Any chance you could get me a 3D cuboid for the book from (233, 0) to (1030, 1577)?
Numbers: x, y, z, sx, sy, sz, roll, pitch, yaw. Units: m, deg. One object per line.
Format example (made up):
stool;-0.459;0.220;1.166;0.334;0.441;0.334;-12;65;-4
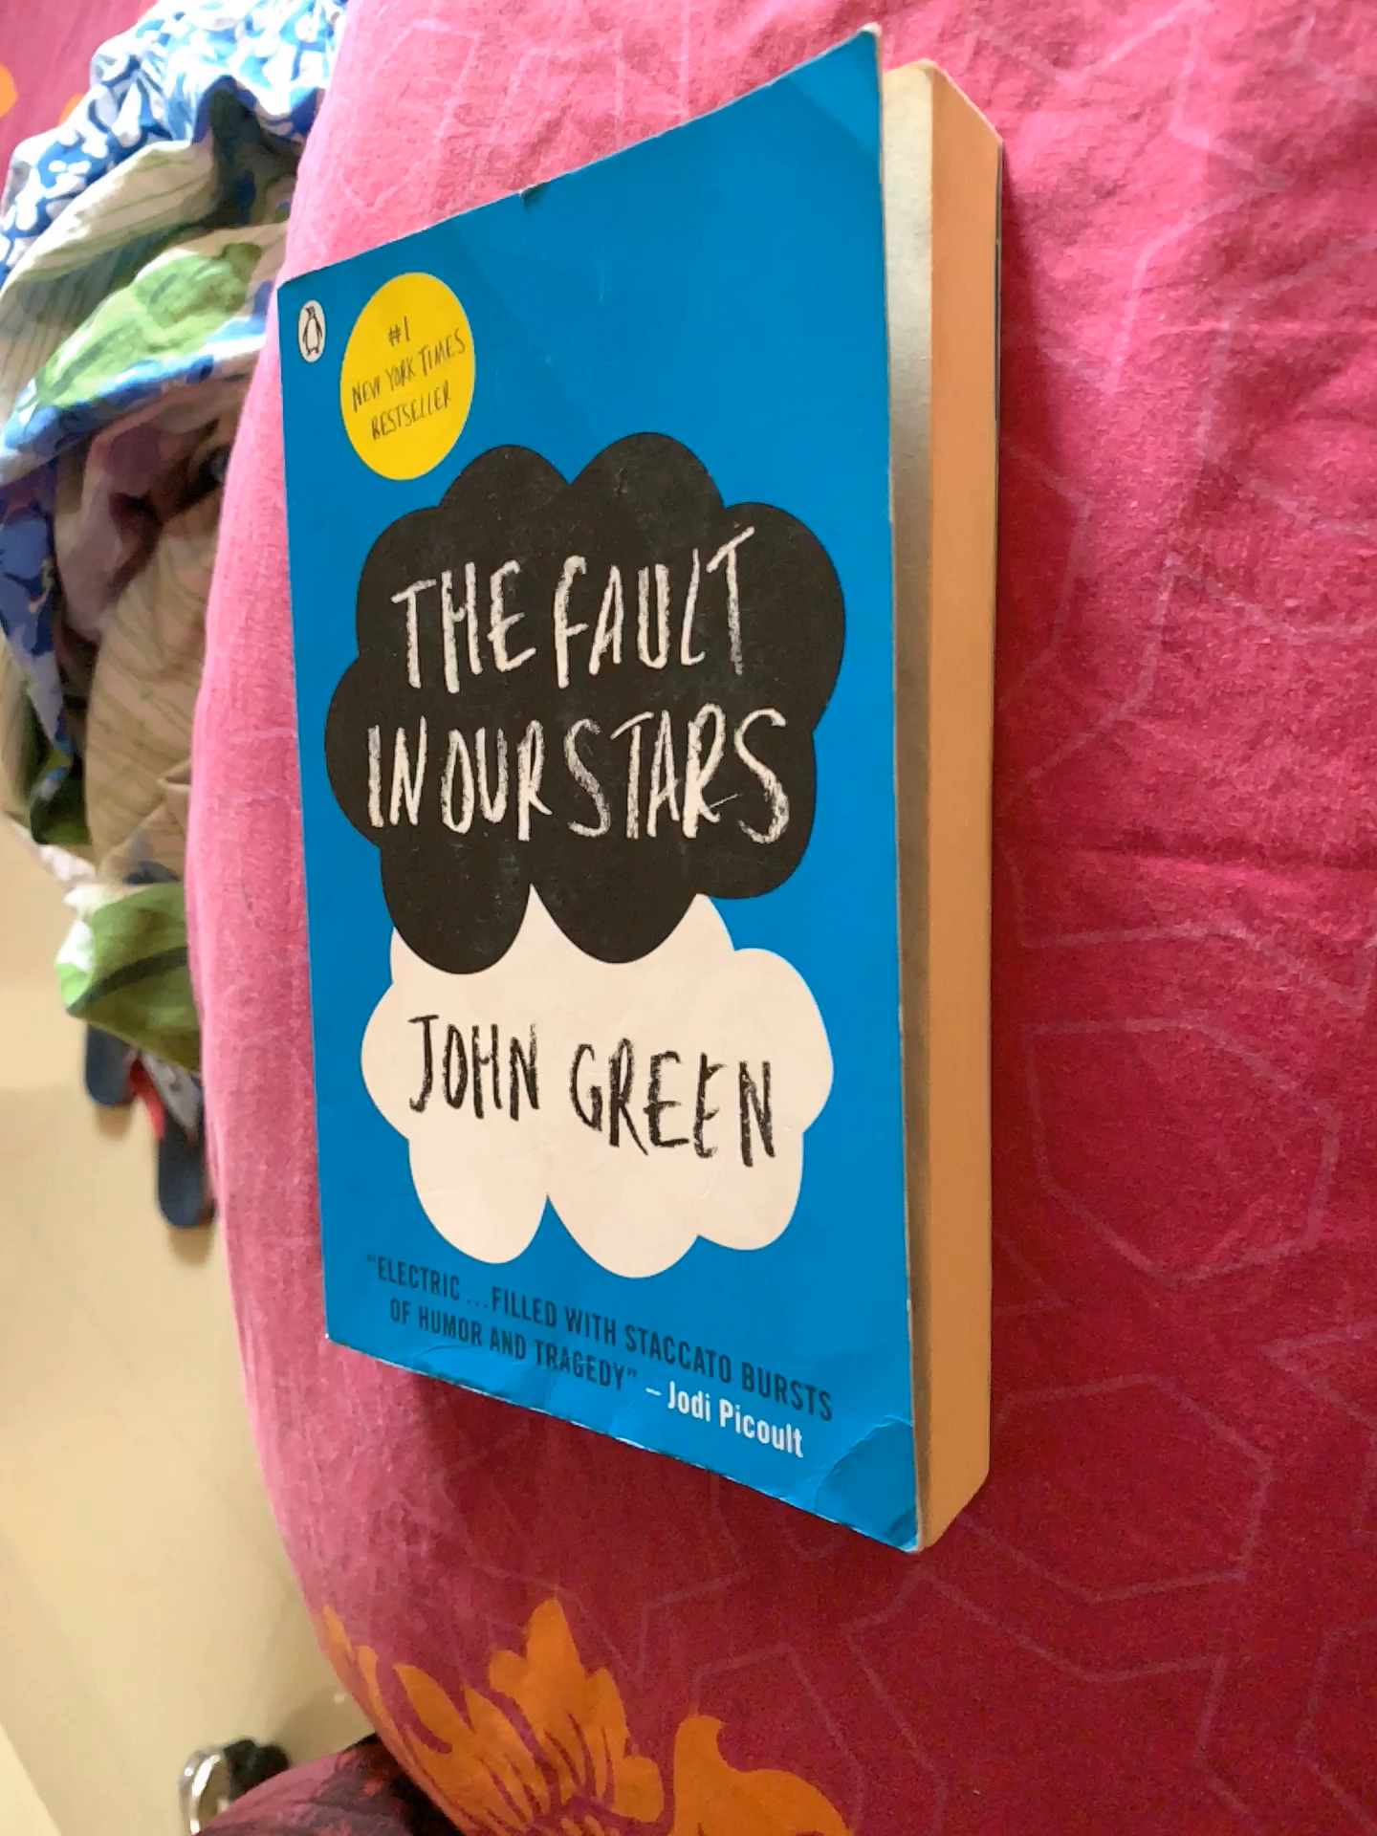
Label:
book;-0.017;-0.016;0.214;0.130;0.030;0.179;1;92;39
